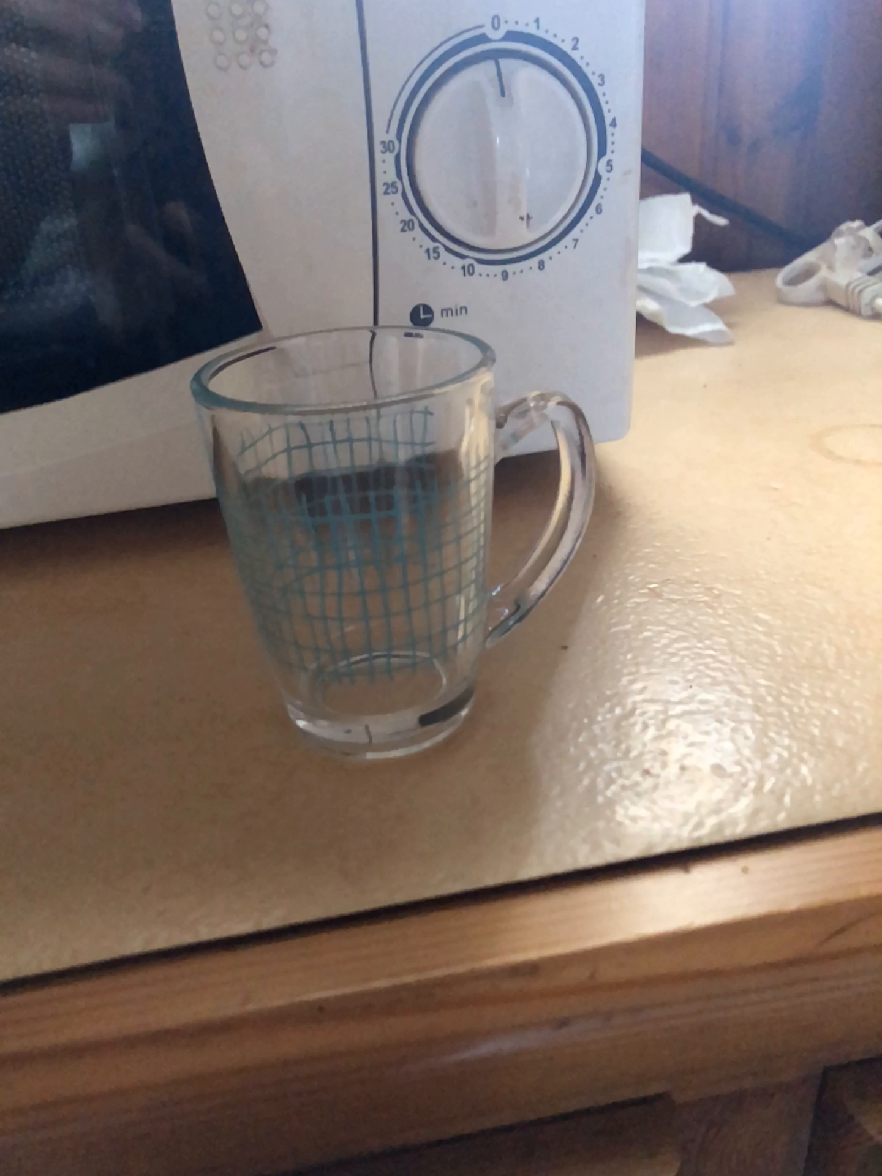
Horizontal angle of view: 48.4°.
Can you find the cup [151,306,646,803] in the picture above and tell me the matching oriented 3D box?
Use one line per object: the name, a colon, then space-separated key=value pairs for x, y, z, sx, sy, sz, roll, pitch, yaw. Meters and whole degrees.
cup: x=-0.009 y=-0.011 z=0.198 sx=0.080 sy=0.070 sz=0.060 roll=-9 pitch=29 yaw=-9
